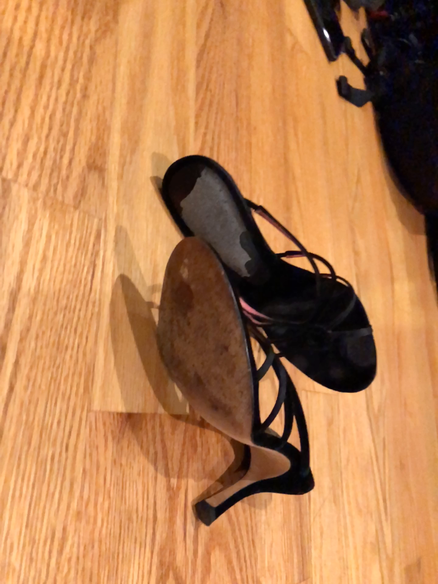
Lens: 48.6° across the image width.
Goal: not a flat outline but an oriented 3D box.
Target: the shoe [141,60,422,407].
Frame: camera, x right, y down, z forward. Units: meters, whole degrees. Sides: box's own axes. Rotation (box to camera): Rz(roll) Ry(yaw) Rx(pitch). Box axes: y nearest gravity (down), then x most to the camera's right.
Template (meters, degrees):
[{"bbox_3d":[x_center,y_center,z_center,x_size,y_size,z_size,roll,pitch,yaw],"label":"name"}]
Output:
[{"bbox_3d":[0.061,-0.024,0.364,0.235,0.104,0.082,59,40,-26],"label":"shoe"}]

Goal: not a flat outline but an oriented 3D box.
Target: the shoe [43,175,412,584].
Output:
[{"bbox_3d":[0.026,0.063,0.288,0.215,0.104,0.102,58,39,-27],"label":"shoe"}]
